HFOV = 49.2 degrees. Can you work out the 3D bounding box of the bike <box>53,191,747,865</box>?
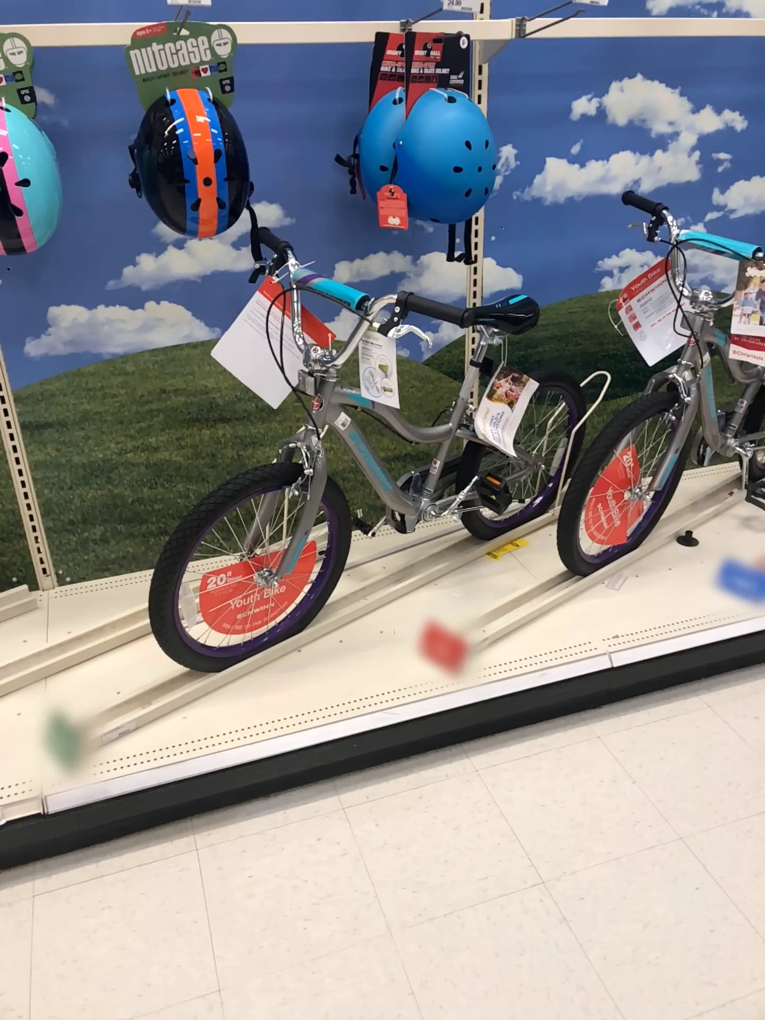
[{"bbox_3d":[0.101,-0.112,1.895,1.323,0.878,0.651,-26,35,-33],"label":"bike"}]
